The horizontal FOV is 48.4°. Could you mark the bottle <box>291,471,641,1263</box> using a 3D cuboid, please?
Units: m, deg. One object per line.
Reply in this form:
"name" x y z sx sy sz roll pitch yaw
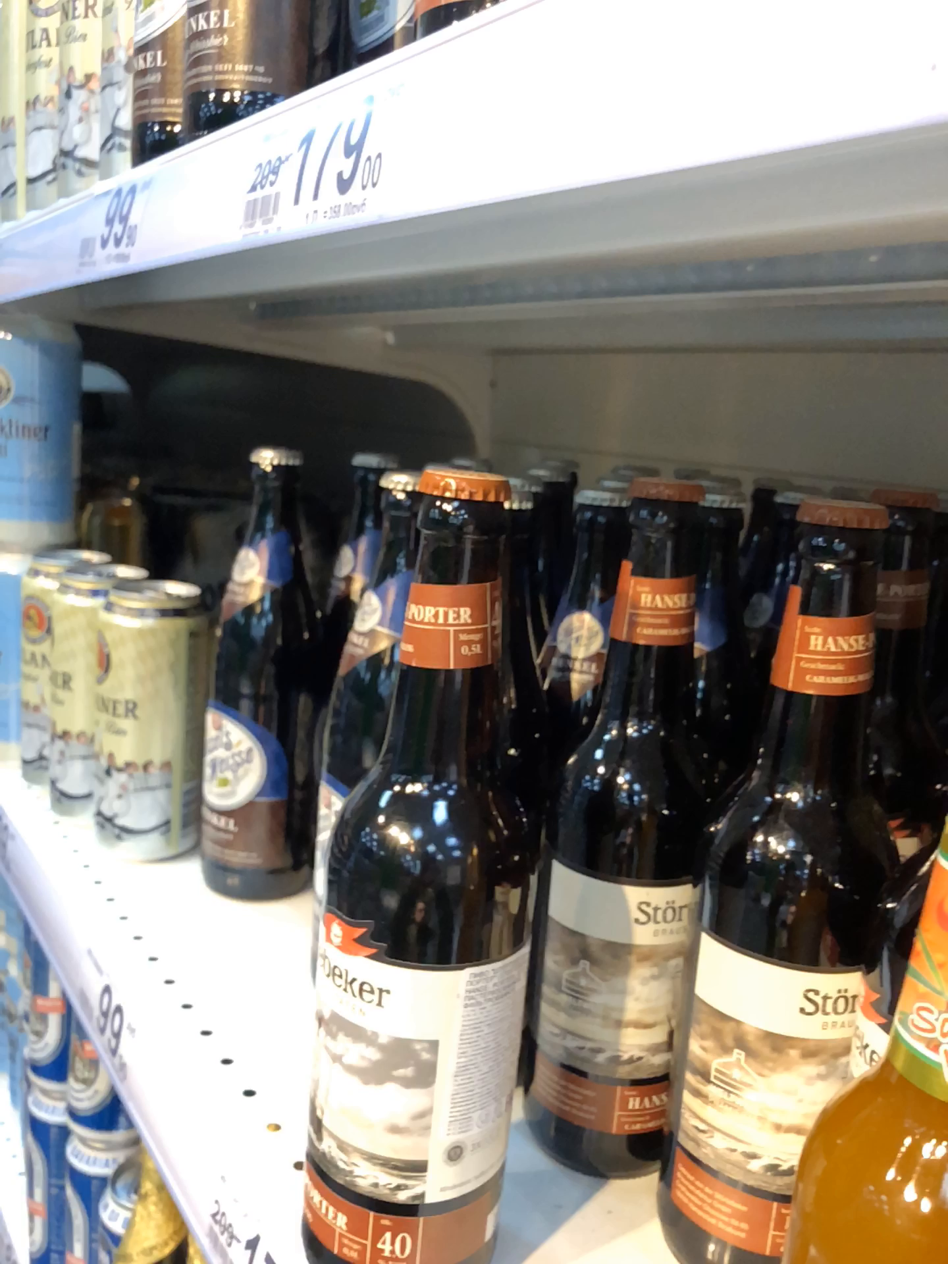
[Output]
"bottle" -0.009 0.092 0.352 0.070 0.279 0.070 4 11 -1
